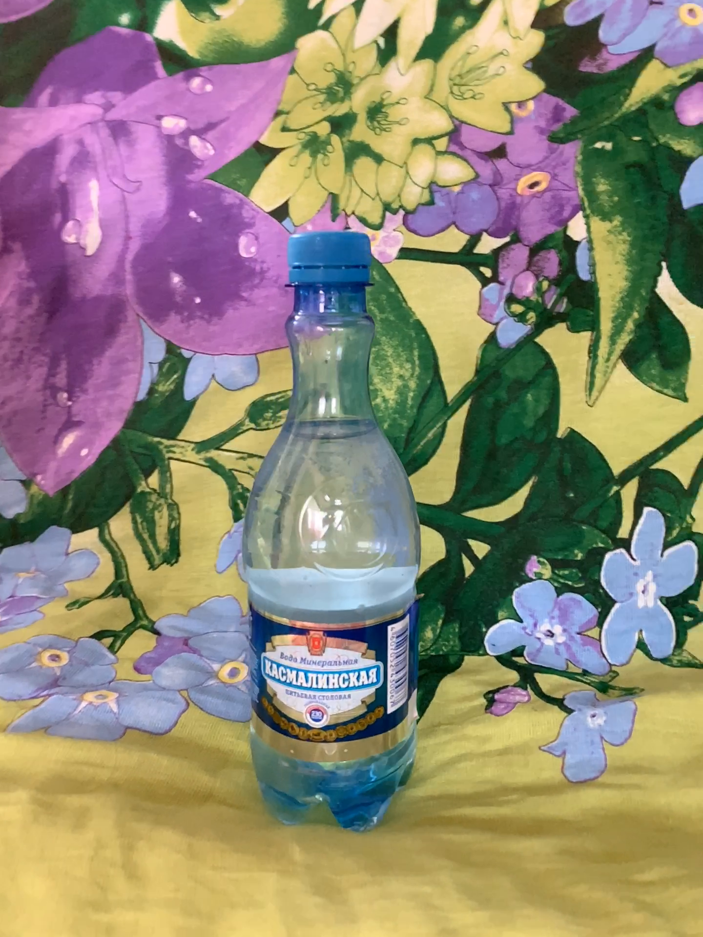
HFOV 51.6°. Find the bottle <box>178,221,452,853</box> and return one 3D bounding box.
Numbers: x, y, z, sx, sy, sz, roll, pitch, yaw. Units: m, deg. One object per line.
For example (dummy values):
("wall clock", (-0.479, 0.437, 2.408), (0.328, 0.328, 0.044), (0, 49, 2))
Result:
("bottle", (-0.005, 0.024, 0.277), (0.080, 0.219, 0.070), (1, 15, 10))
